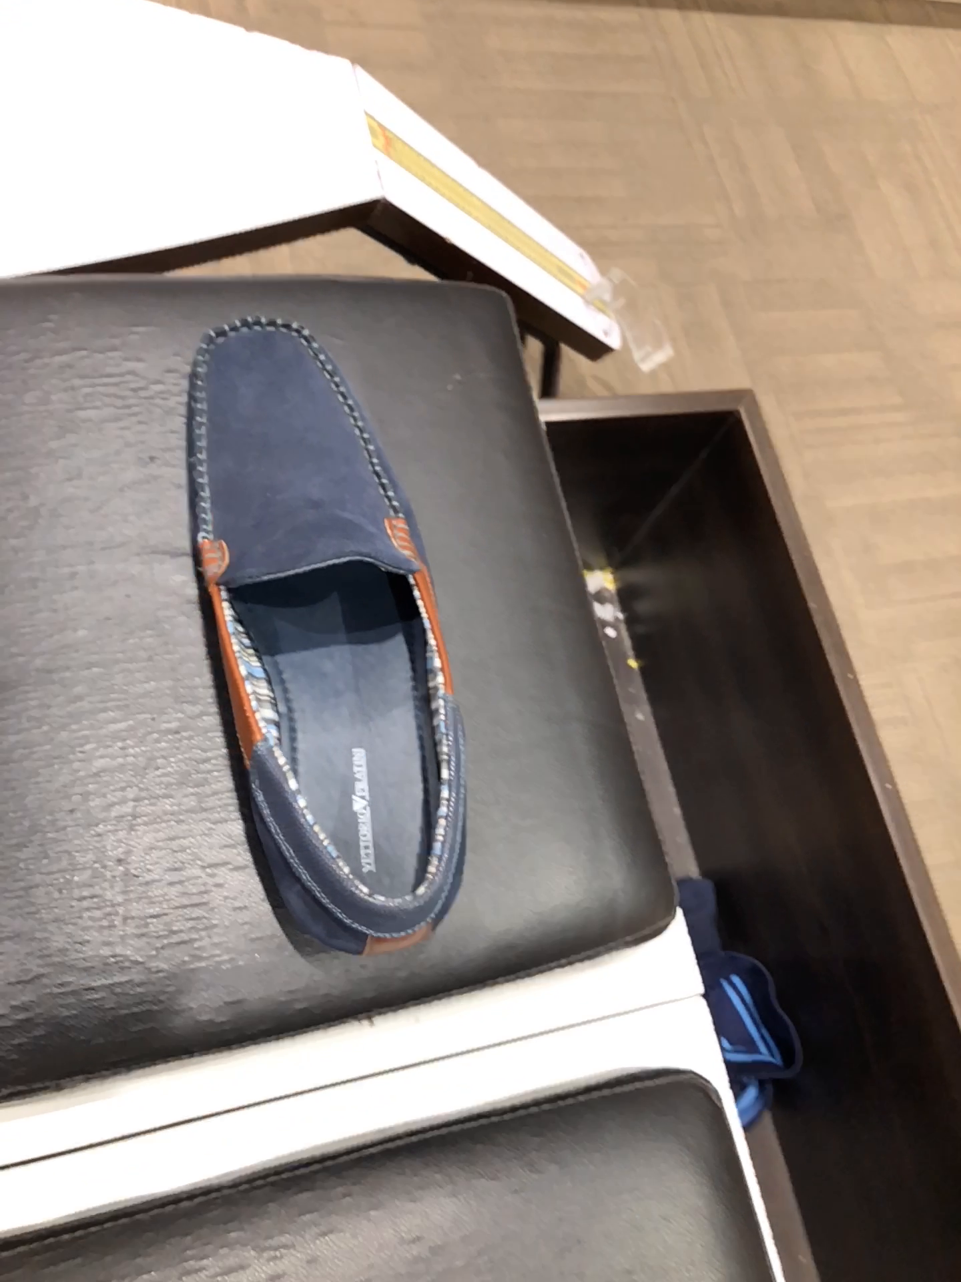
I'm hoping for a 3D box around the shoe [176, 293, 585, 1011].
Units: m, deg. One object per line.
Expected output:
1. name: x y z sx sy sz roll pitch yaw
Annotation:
1. shoe: -0.058 -0.002 0.472 0.110 0.100 0.291 -8 70 -18
